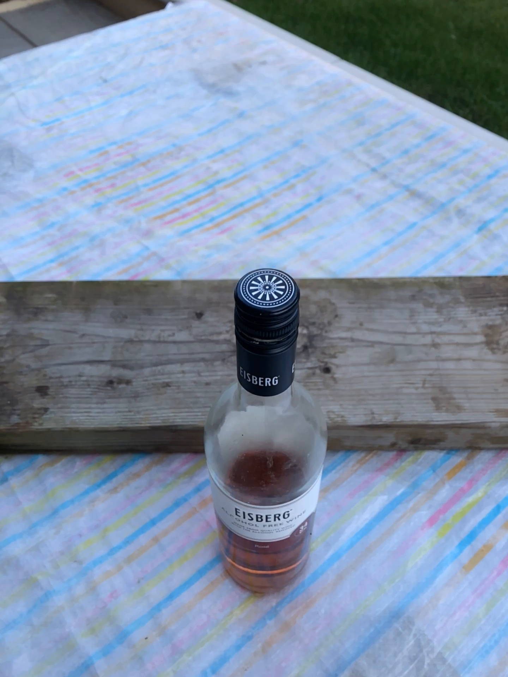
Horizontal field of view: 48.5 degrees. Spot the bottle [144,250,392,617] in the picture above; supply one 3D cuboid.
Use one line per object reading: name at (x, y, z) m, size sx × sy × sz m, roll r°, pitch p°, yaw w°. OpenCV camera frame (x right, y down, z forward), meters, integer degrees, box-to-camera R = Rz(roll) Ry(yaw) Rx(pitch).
bottle at (0.007, 0.084, 0.340) m, size 0.090 × 0.288 × 0.081 m, roll 0°, pitch 49°, yaw 1°
